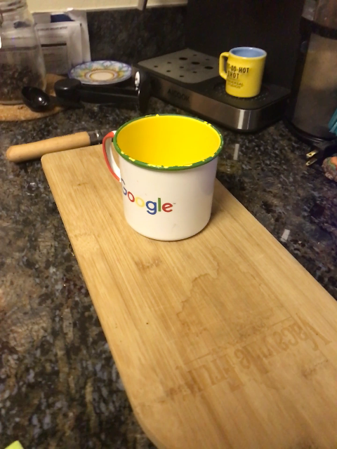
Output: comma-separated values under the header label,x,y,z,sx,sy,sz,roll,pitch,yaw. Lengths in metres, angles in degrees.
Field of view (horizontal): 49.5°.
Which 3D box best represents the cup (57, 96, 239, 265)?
label,x,y,z,sx,sy,sz,roll,pitch,yaw
cup,-0.019,-0.051,0.359,0.130,0.089,0.101,28,48,28
